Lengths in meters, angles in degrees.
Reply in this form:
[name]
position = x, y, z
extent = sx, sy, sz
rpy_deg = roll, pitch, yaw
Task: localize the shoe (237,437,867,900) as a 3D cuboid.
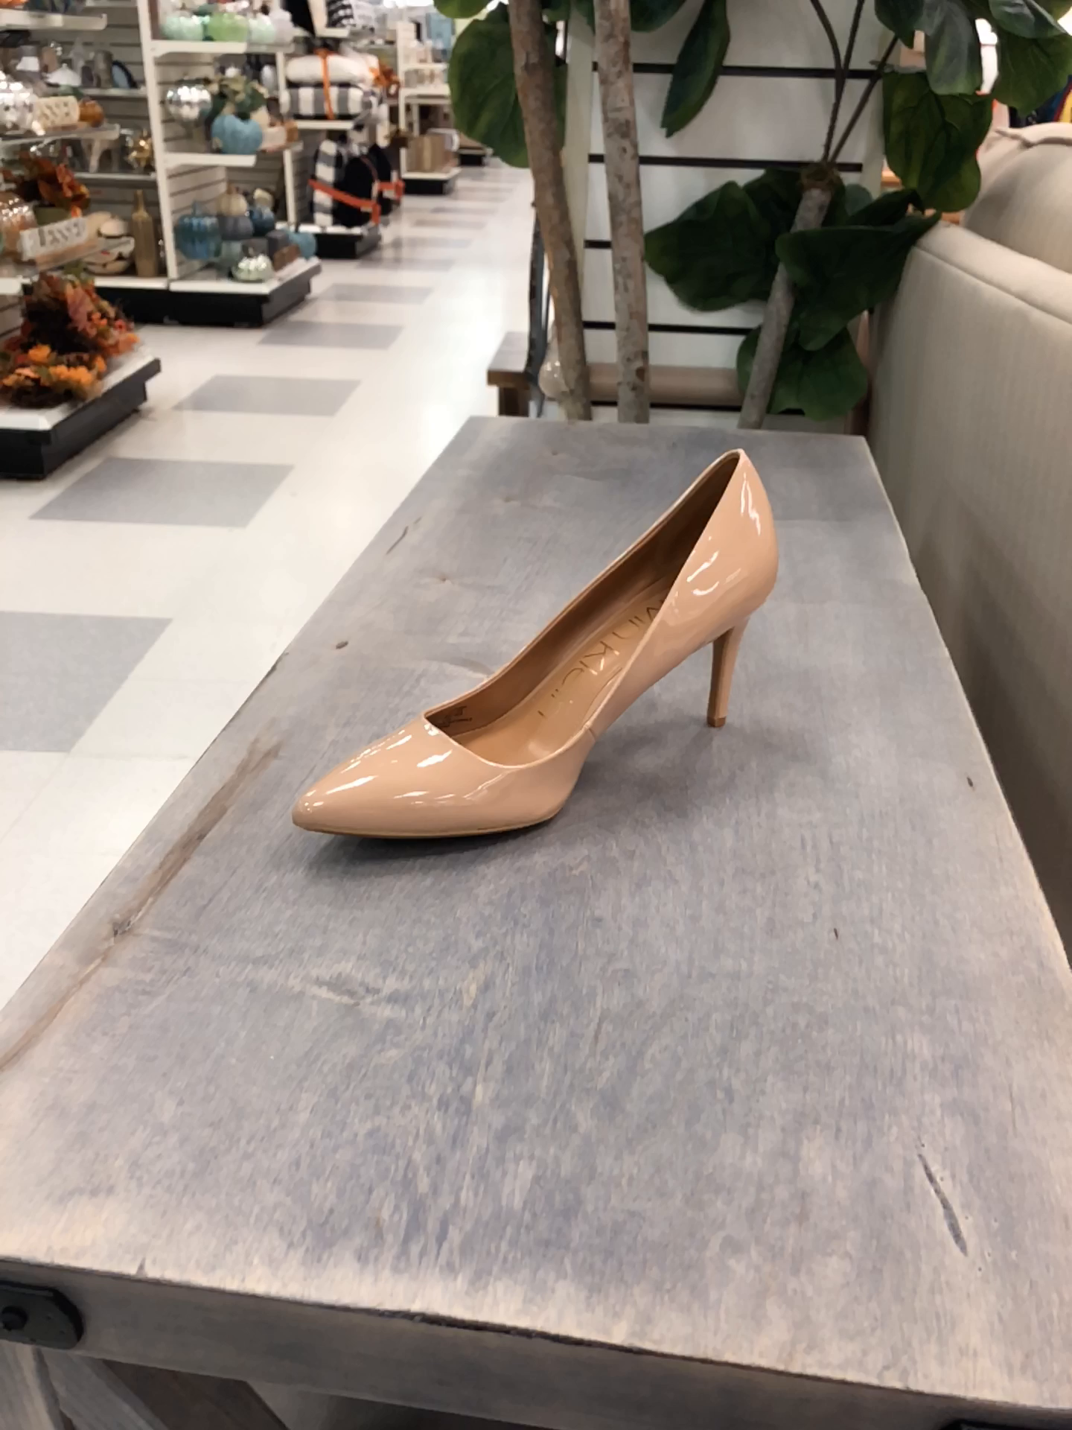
[shoe]
position = 0.015, -0.036, 0.543
extent = 0.268, 0.129, 0.096
rpy_deg = -17, 32, -31
